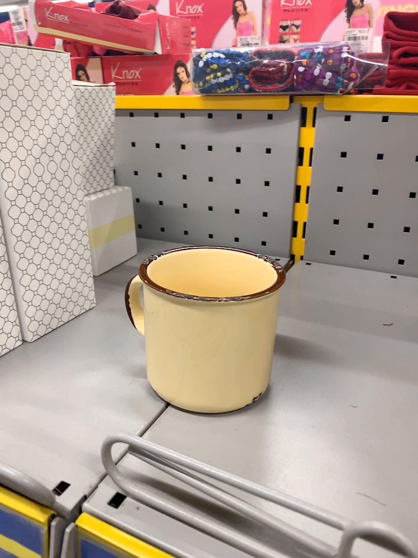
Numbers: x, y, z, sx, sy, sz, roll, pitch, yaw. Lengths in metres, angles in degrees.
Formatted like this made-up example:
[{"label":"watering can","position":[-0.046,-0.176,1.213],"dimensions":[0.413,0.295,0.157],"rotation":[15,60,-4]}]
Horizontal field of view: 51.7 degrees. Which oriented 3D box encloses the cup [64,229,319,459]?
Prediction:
[{"label":"cup","position":[-0.008,0.027,0.268],"dimensions":[0.120,0.080,0.090],"rotation":[13,26,28]}]
